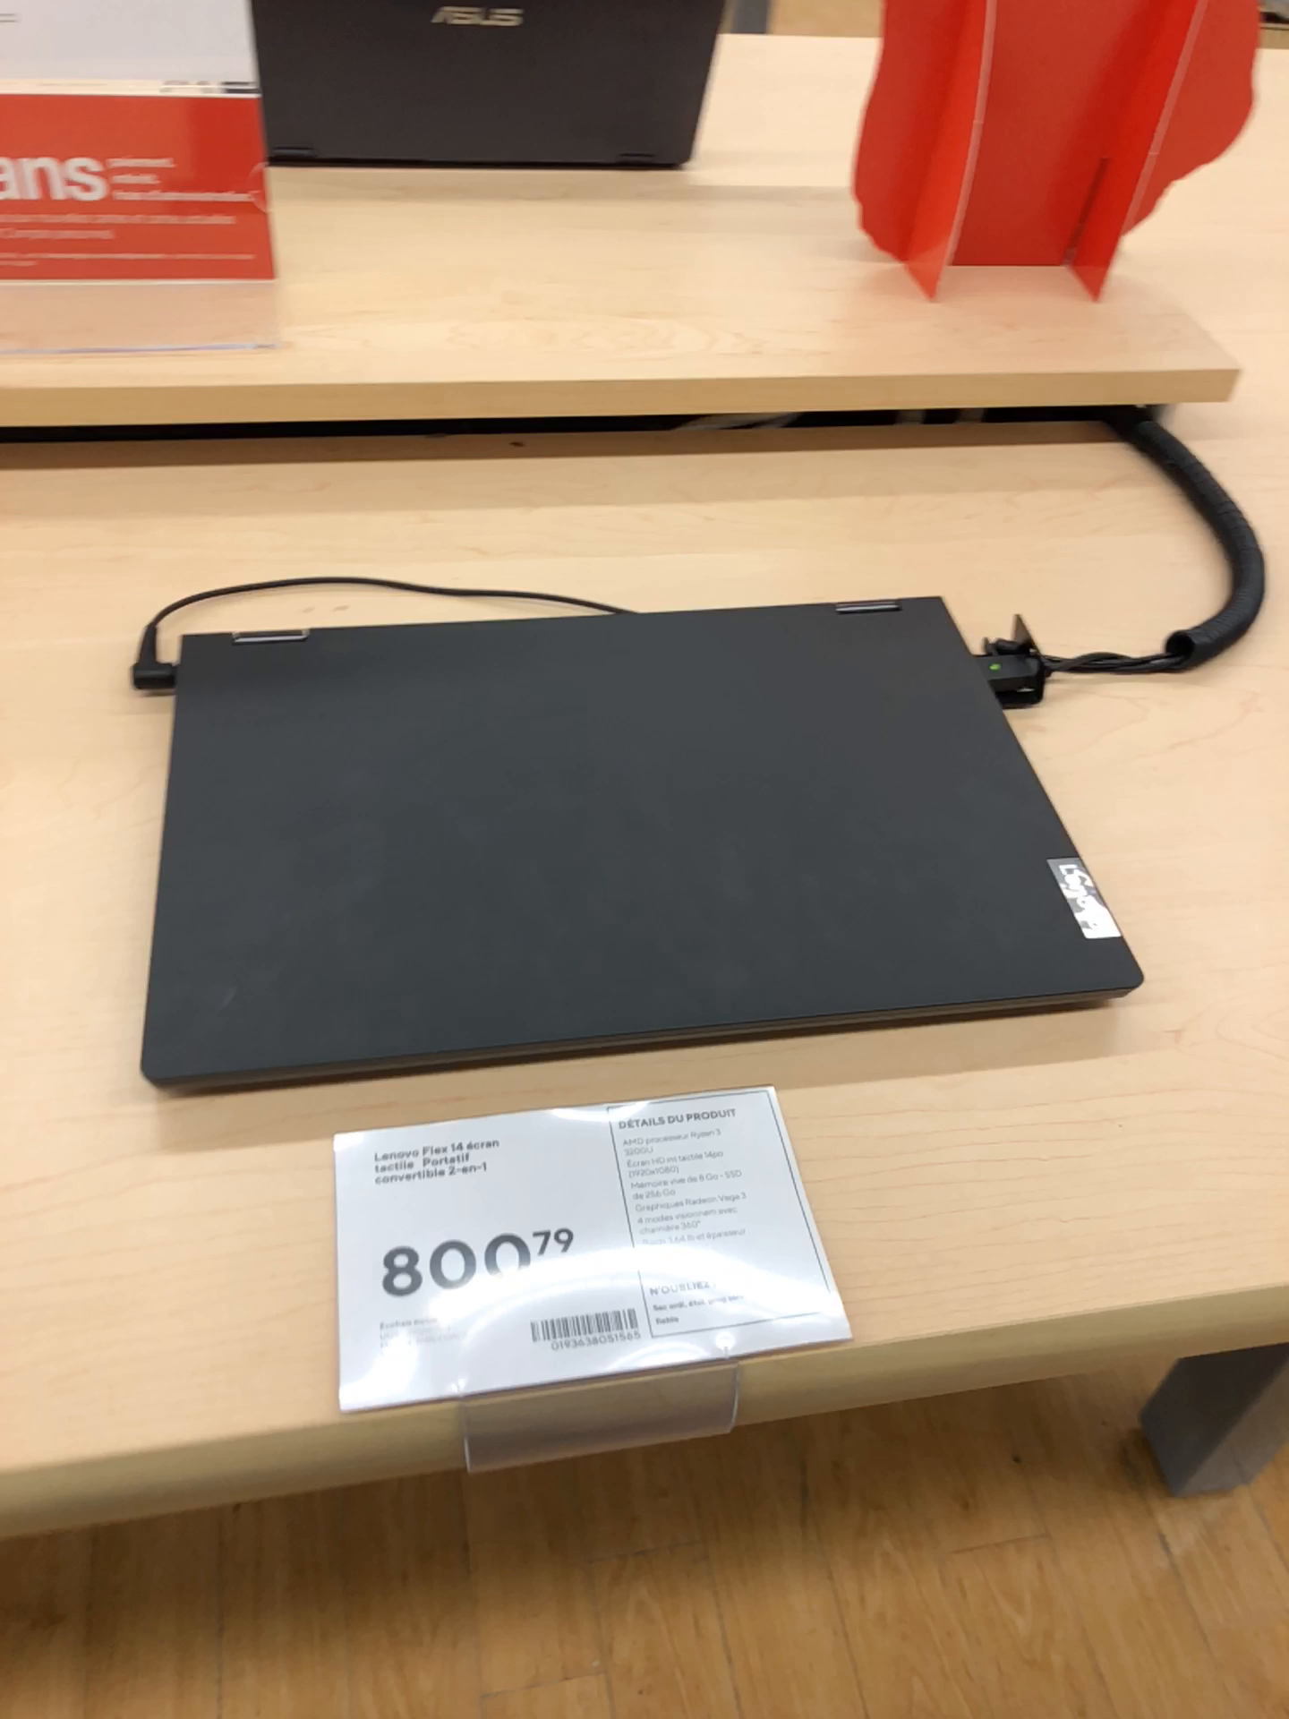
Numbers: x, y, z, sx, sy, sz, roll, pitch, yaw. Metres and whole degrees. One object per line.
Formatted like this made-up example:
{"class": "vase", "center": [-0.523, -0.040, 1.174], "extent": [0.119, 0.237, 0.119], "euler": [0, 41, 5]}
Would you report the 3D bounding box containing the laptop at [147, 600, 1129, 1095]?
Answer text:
{"class": "laptop", "center": [-0.009, -0.022, 0.534], "extent": [0.326, 0.009, 0.212], "euler": [-4, 48, -11]}
